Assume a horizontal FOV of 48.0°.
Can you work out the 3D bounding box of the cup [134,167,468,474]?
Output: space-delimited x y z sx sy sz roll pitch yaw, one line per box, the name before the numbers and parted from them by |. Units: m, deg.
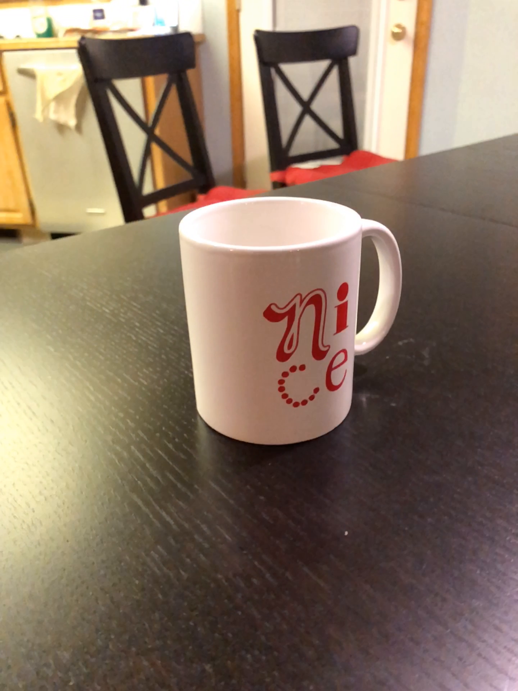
cup | 0.019 -0.024 0.296 0.120 0.099 0.100 -18 32 -29
